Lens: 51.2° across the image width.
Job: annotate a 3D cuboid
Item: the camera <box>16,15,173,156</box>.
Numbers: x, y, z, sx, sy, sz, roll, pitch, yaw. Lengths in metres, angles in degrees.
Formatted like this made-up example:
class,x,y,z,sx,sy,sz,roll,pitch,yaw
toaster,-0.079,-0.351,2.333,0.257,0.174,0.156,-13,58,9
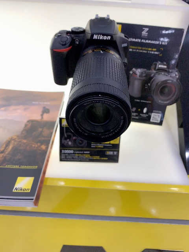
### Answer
class,x,y,z,sx,sy,sz,roll,pitch,yaw
camera,-0.004,-0.064,0.252,0.120,0.100,0.181,1,40,-3
